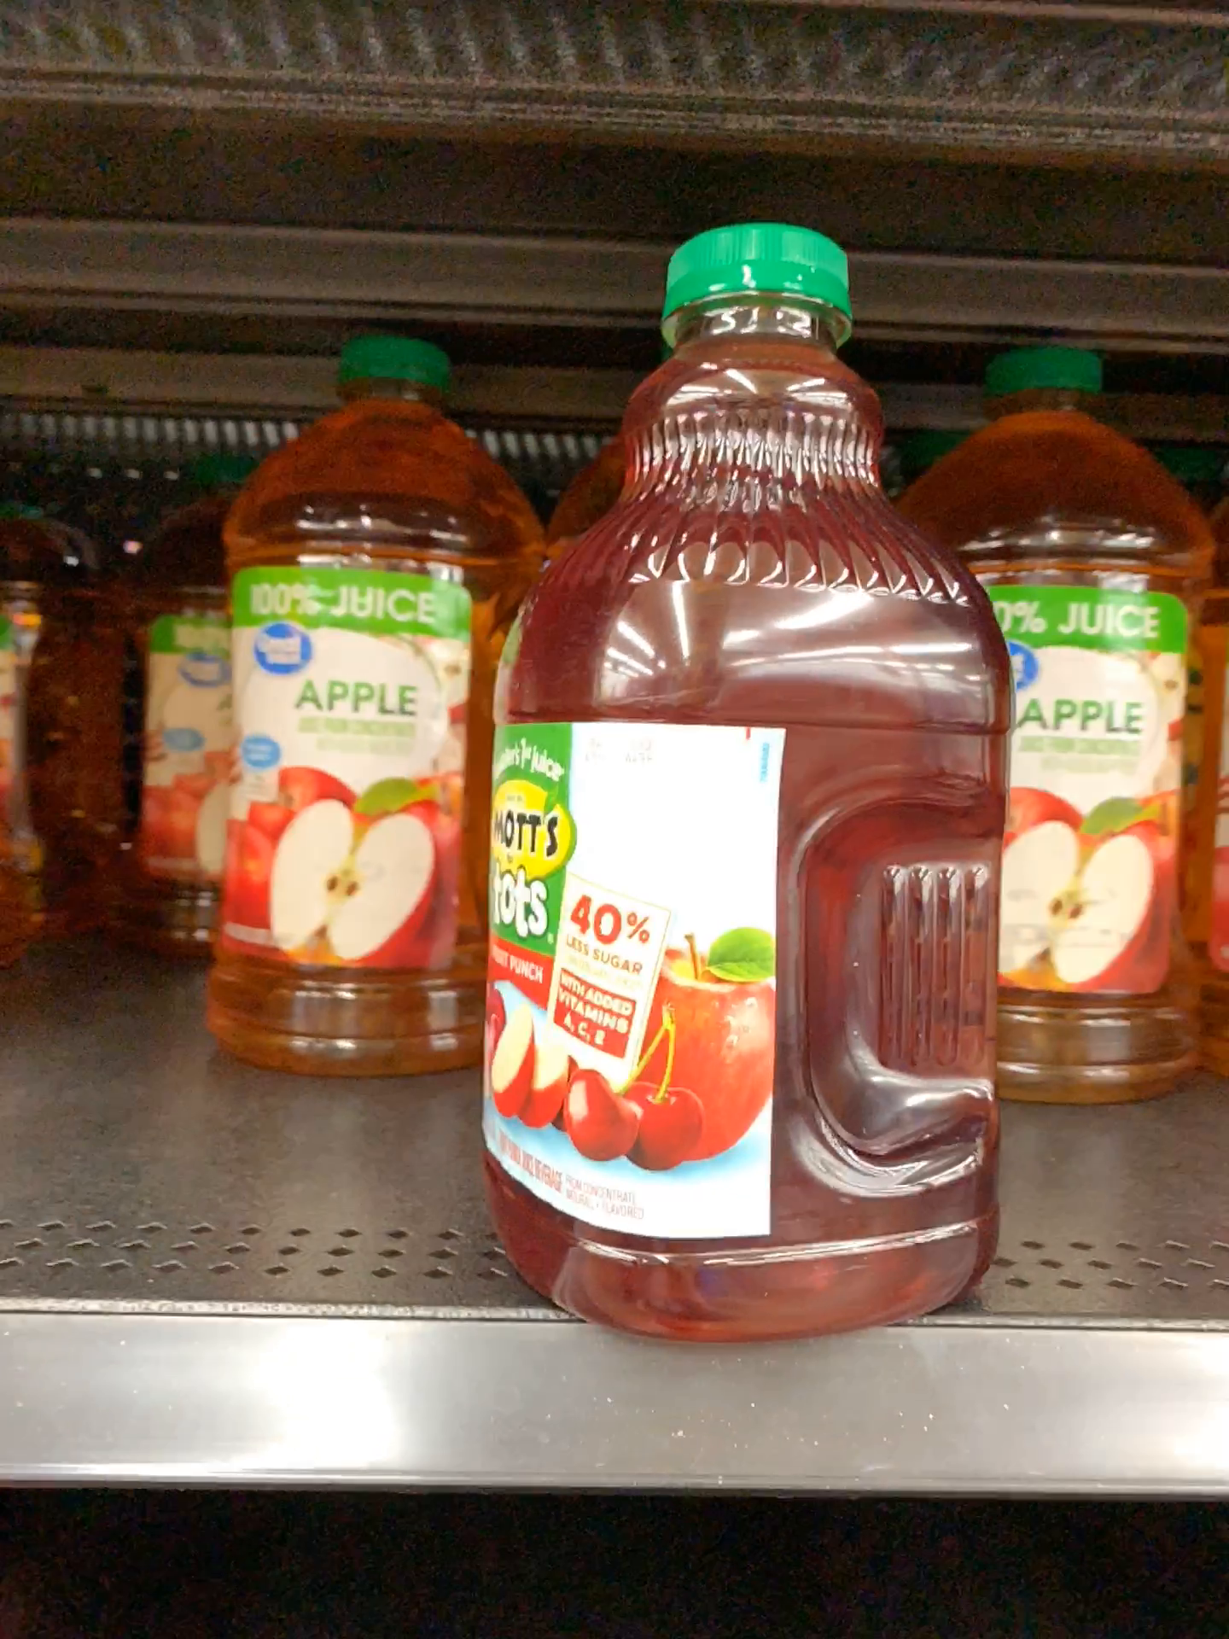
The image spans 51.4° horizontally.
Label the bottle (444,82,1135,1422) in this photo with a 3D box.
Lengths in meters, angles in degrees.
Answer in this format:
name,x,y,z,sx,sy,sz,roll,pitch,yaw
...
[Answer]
name,x,y,z,sx,sy,sz,roll,pitch,yaw
bottle,0.035,-0.014,0.318,0.110,0.250,0.120,2,4,0
